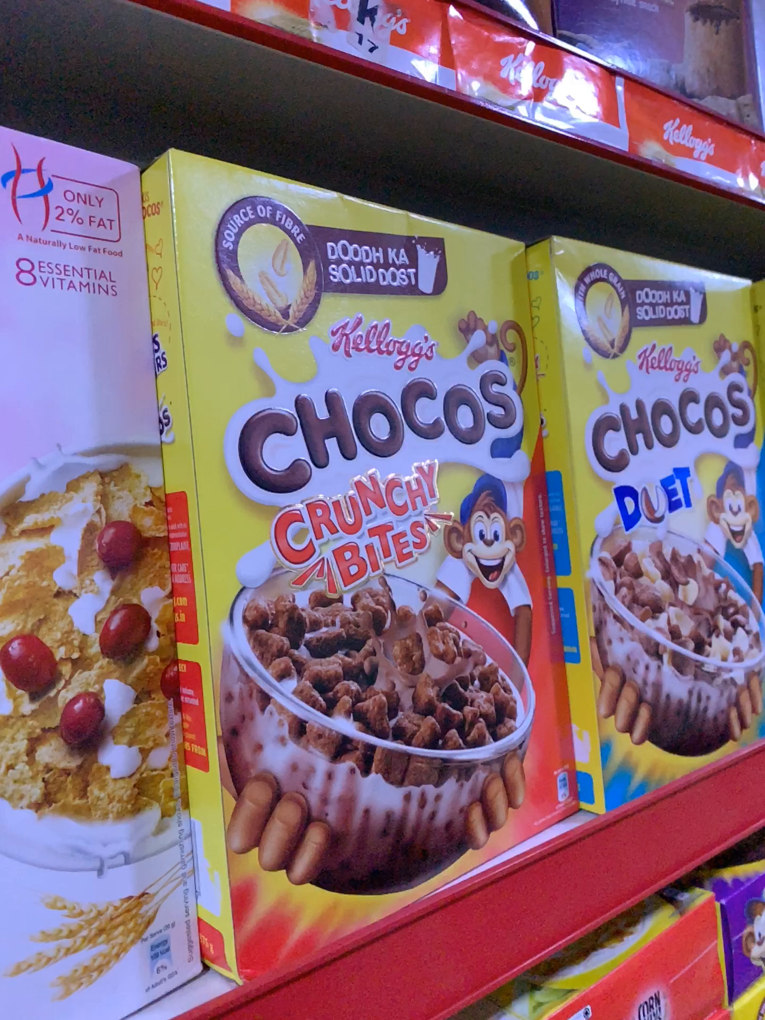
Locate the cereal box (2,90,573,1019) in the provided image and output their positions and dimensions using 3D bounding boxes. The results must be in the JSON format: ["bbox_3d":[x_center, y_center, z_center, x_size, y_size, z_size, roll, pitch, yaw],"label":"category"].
[{"bbox_3d":[-0.024,0.012,0.310,0.080,0.260,0.190,-7,-3,43],"label":"cereal box"}]
